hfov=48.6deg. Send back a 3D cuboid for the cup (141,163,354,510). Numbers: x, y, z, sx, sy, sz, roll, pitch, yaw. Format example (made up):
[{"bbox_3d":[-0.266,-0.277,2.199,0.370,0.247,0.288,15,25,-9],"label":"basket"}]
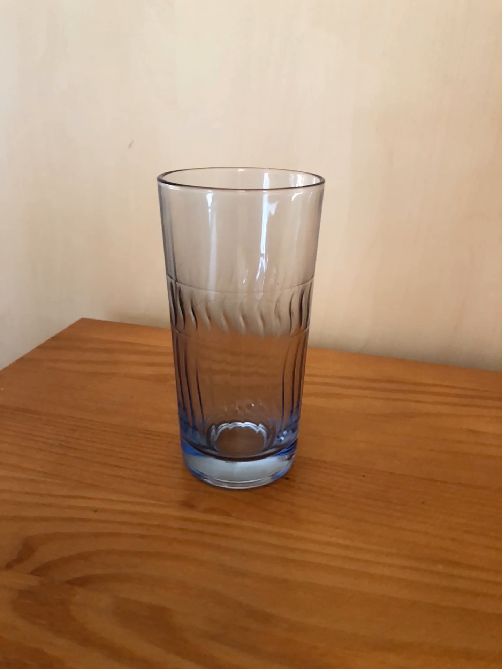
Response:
[{"bbox_3d":[-0.009,-0.004,0.247,0.070,0.129,0.076,2,23,-1],"label":"cup"}]
